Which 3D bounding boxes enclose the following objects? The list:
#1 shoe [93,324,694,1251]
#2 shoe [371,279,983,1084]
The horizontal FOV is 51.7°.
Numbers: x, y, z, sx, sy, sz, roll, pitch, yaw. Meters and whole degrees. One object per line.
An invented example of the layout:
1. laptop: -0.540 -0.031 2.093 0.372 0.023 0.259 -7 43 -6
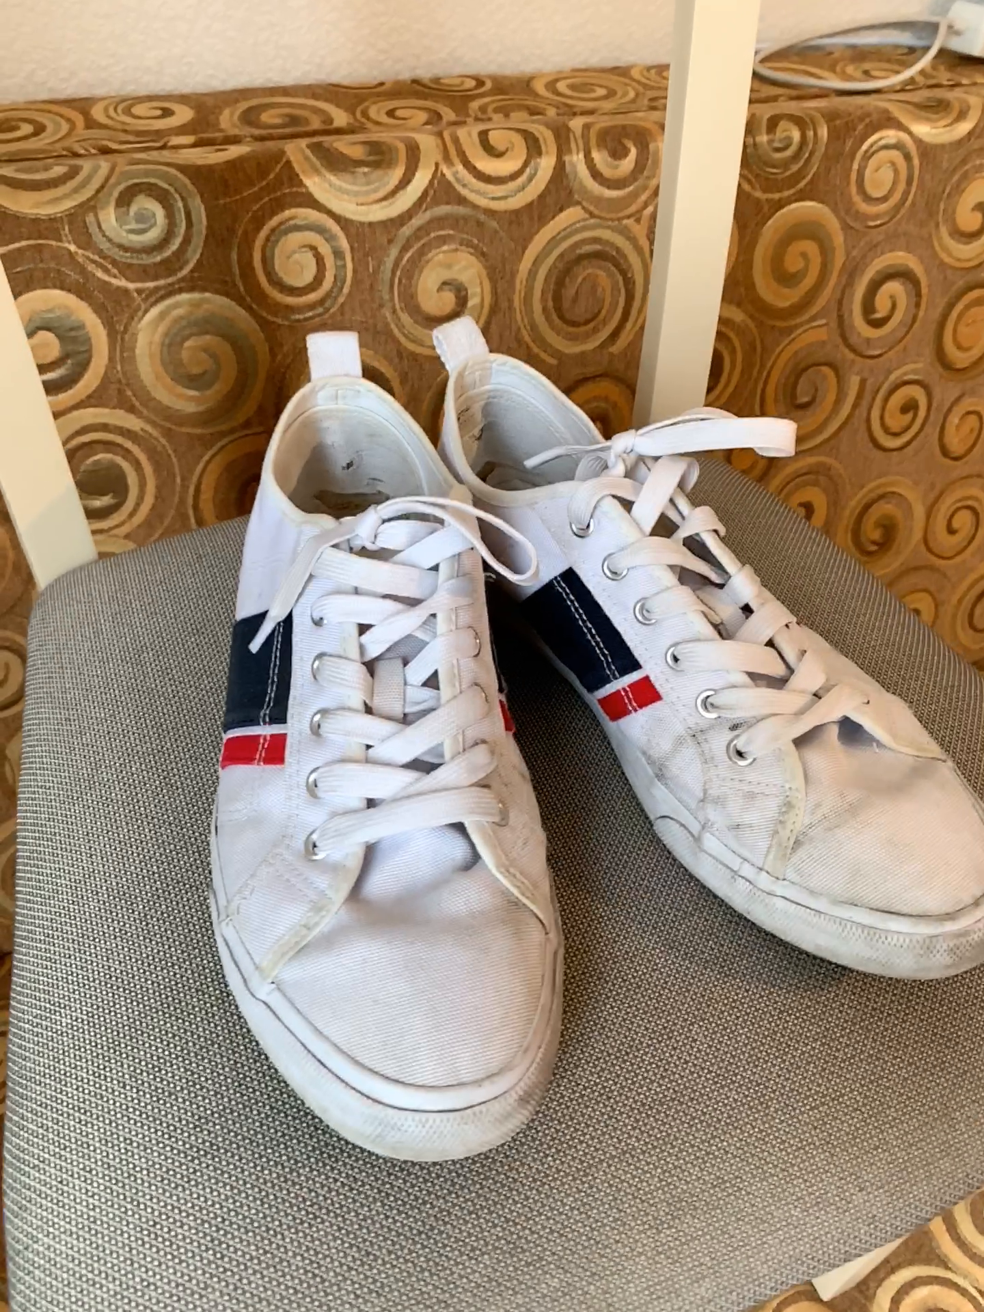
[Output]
1. shoe: -0.044 0.012 0.325 0.120 0.090 0.281 -5 50 -9
2. shoe: 0.077 -0.014 0.353 0.110 0.090 0.271 -27 57 -25
